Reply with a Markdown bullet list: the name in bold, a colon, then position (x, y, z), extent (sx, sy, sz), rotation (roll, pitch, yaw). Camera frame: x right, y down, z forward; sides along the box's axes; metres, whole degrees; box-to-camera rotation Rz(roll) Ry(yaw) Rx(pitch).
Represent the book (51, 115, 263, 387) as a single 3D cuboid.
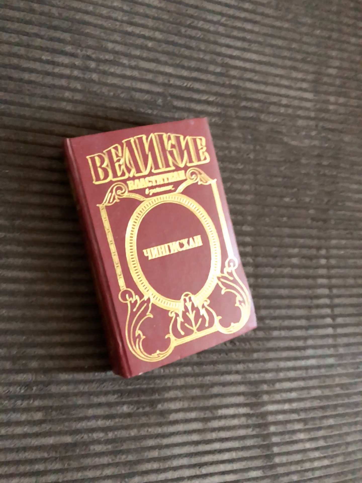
- **book**: position (-0.021, 0.003, 0.363), extent (0.137, 0.050, 0.202), rotation (-15, 92, -21)
